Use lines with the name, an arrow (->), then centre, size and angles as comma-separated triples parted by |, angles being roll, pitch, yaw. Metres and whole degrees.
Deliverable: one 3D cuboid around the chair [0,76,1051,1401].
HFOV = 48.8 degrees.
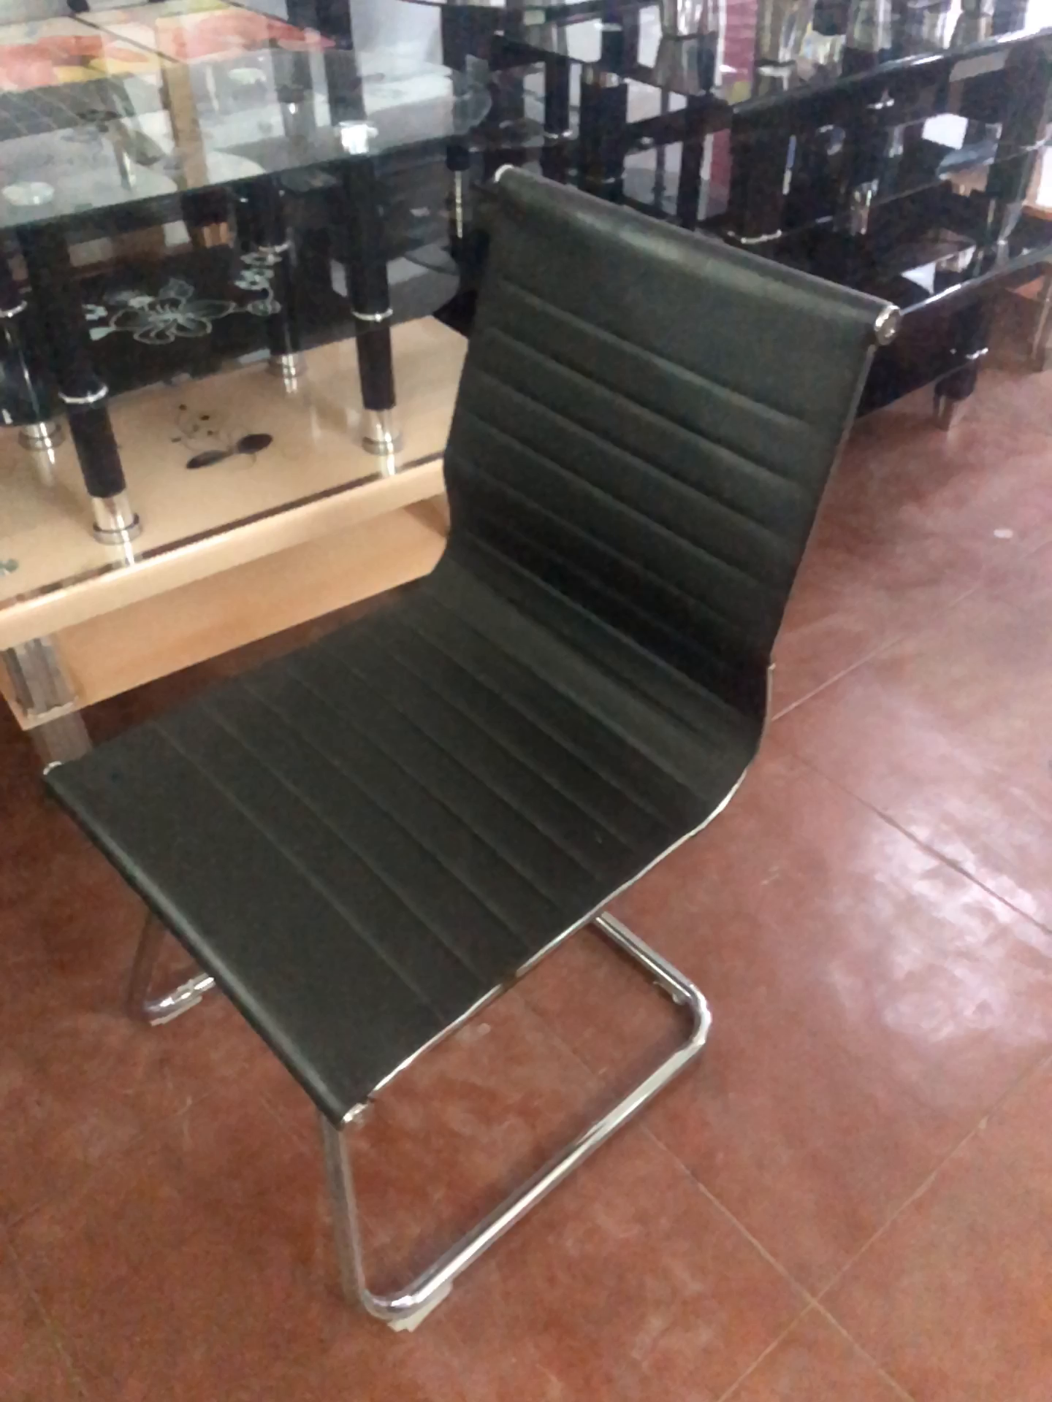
chair -> -0.075, 0.024, 1.037 | 0.683, 0.856, 0.591 | -31, 50, -32
